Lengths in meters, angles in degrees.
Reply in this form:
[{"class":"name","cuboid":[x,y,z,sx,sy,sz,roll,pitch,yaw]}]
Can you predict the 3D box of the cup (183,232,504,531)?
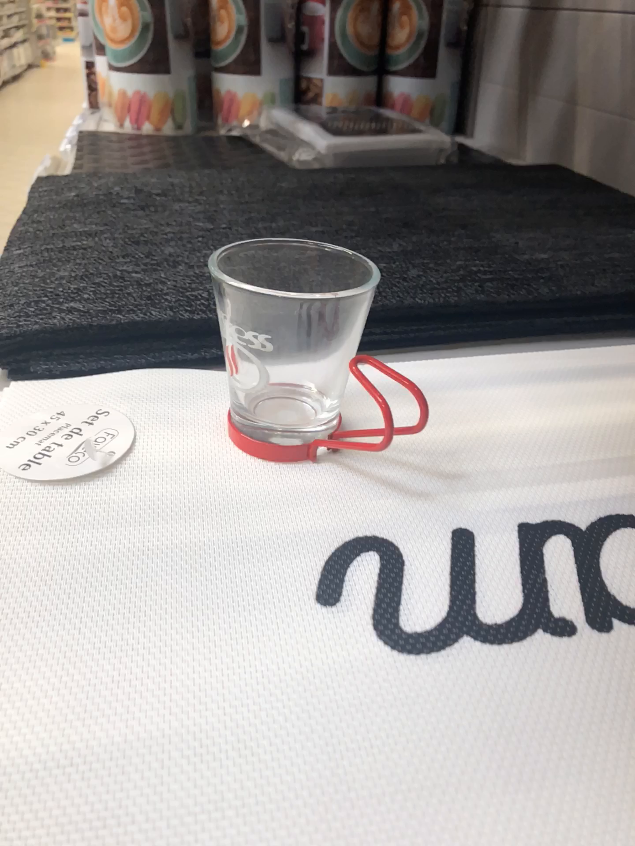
[{"class":"cup","cuboid":[0.004,-0.021,0.247,0.092,0.063,0.056,28,36,34]}]
